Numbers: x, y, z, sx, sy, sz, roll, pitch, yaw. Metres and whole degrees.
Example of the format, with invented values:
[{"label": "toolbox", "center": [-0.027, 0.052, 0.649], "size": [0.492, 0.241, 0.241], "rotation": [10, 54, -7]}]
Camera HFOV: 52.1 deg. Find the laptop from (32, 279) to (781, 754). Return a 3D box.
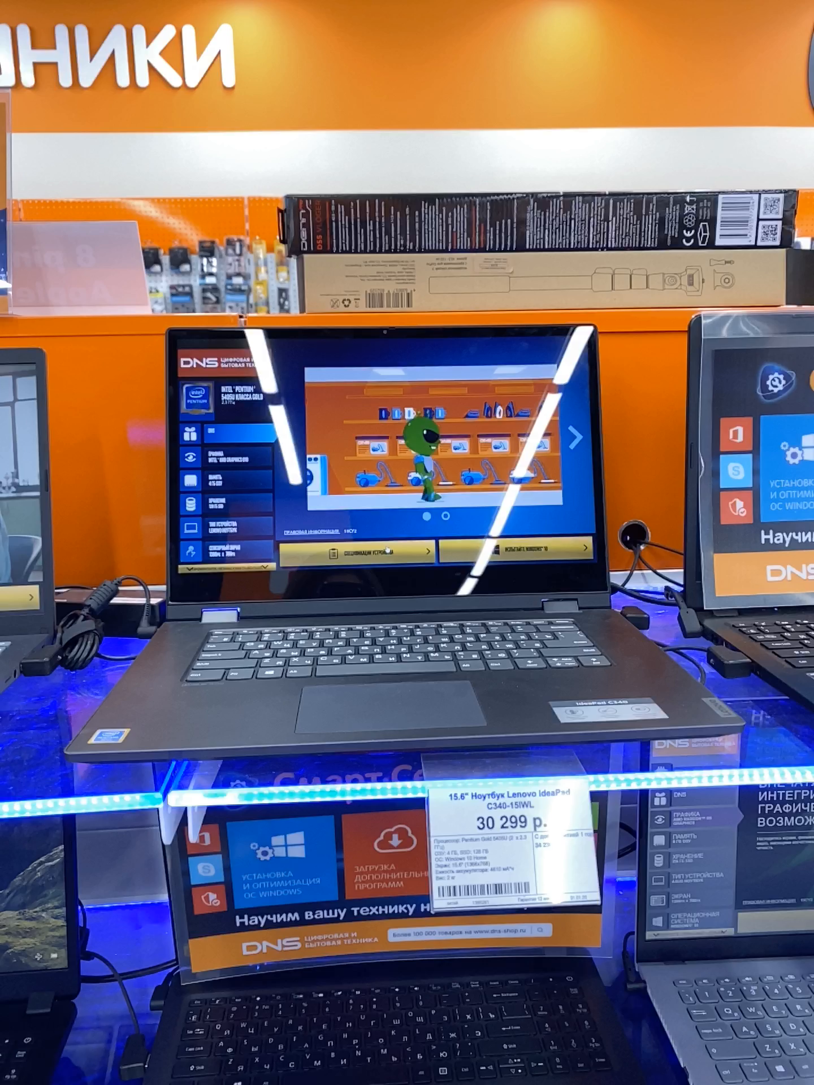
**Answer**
[{"label": "laptop", "center": [-0.003, -0.039, 0.576], "size": [0.362, 0.232, 0.318], "rotation": [-1, 10, -5]}]
